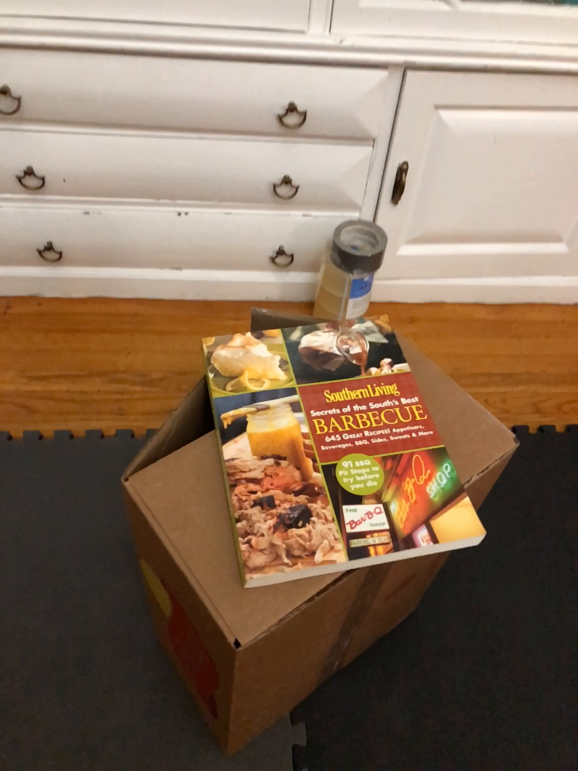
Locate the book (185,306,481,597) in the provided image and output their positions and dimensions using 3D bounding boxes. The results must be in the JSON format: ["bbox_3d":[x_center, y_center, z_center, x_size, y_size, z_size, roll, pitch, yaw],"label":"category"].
[{"bbox_3d":[0.026,0.041,0.618,0.220,0.020,0.291,-7,52,-11],"label":"book"}]
